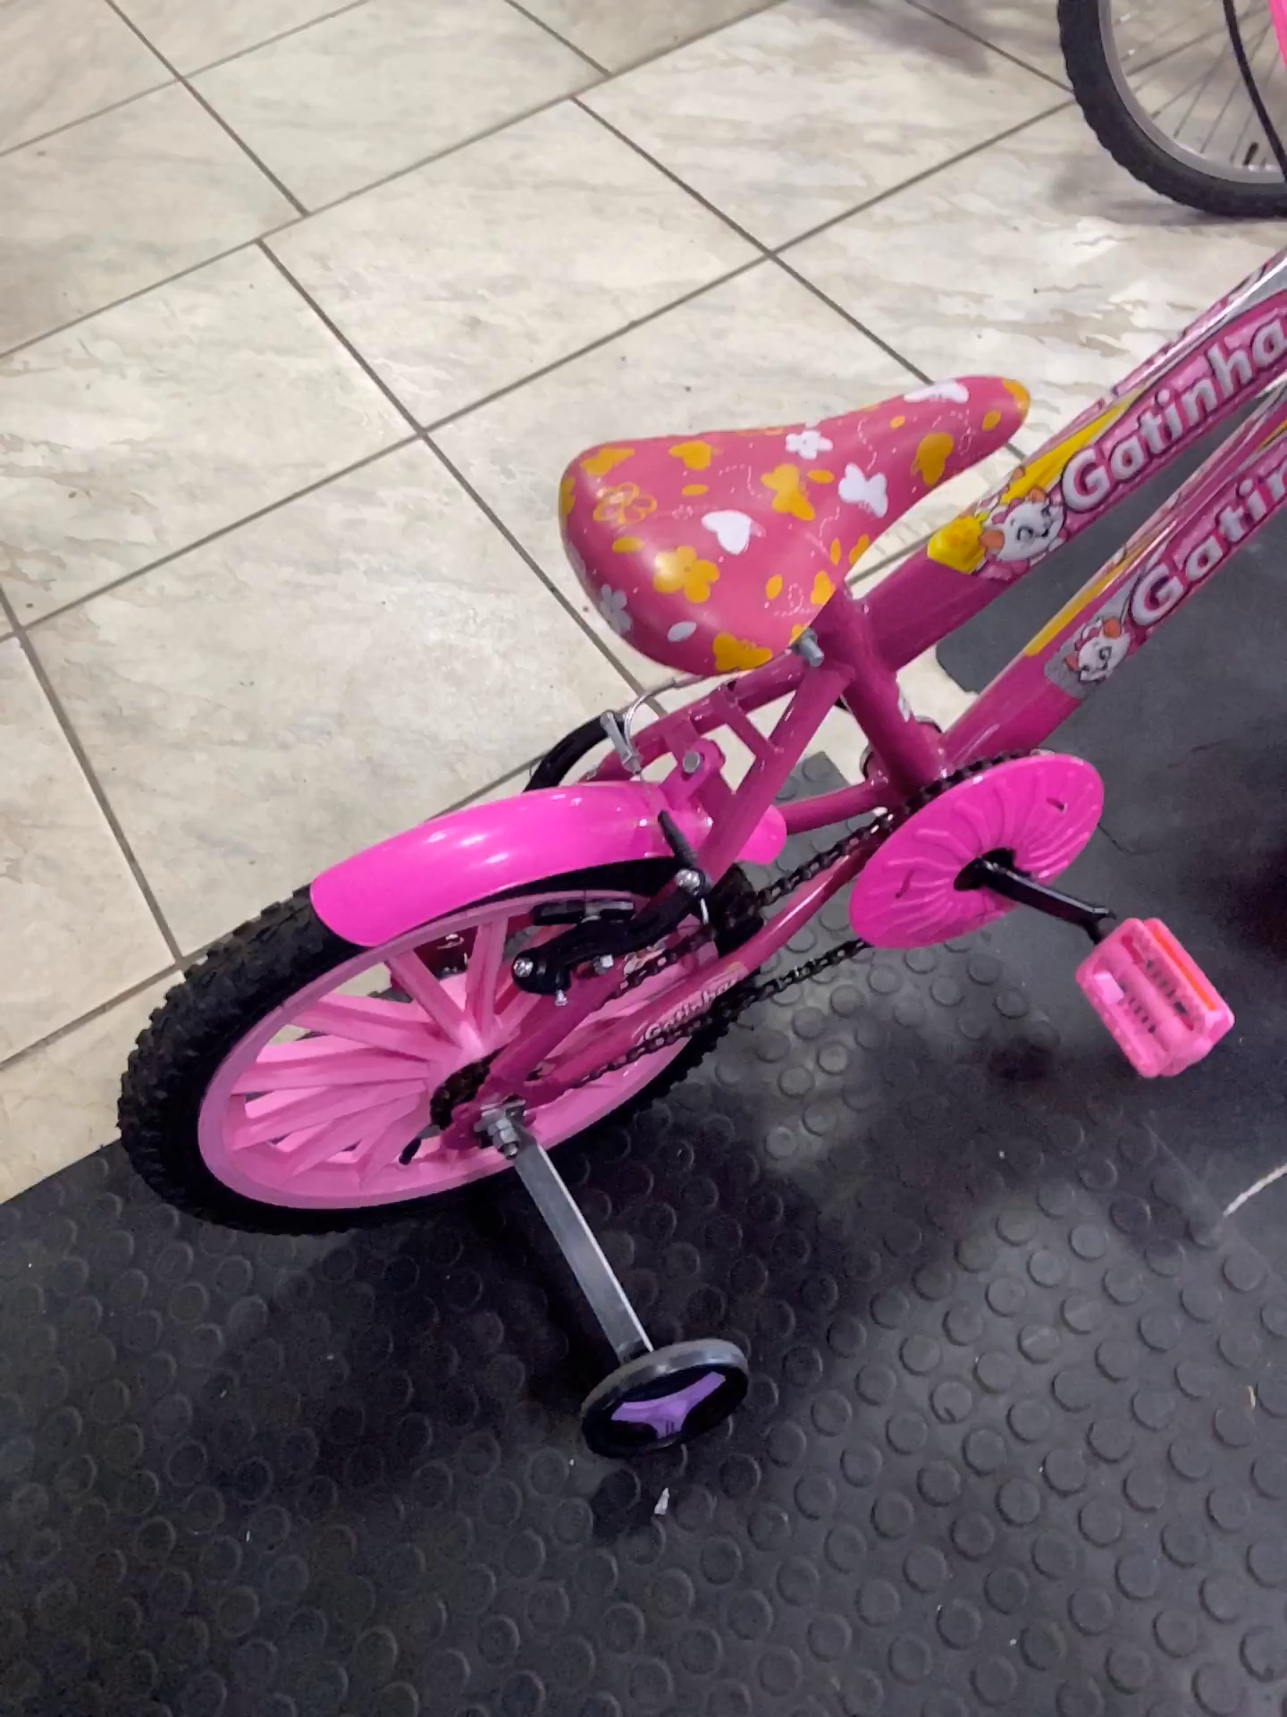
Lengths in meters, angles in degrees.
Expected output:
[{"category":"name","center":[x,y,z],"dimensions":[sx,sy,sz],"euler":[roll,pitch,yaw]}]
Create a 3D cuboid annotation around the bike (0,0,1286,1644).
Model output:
[{"category":"bike","center":[0.110,-0.151,0.676],"dimensions":[0.939,0.790,0.467],"euler":[-29,58,-12]}]
